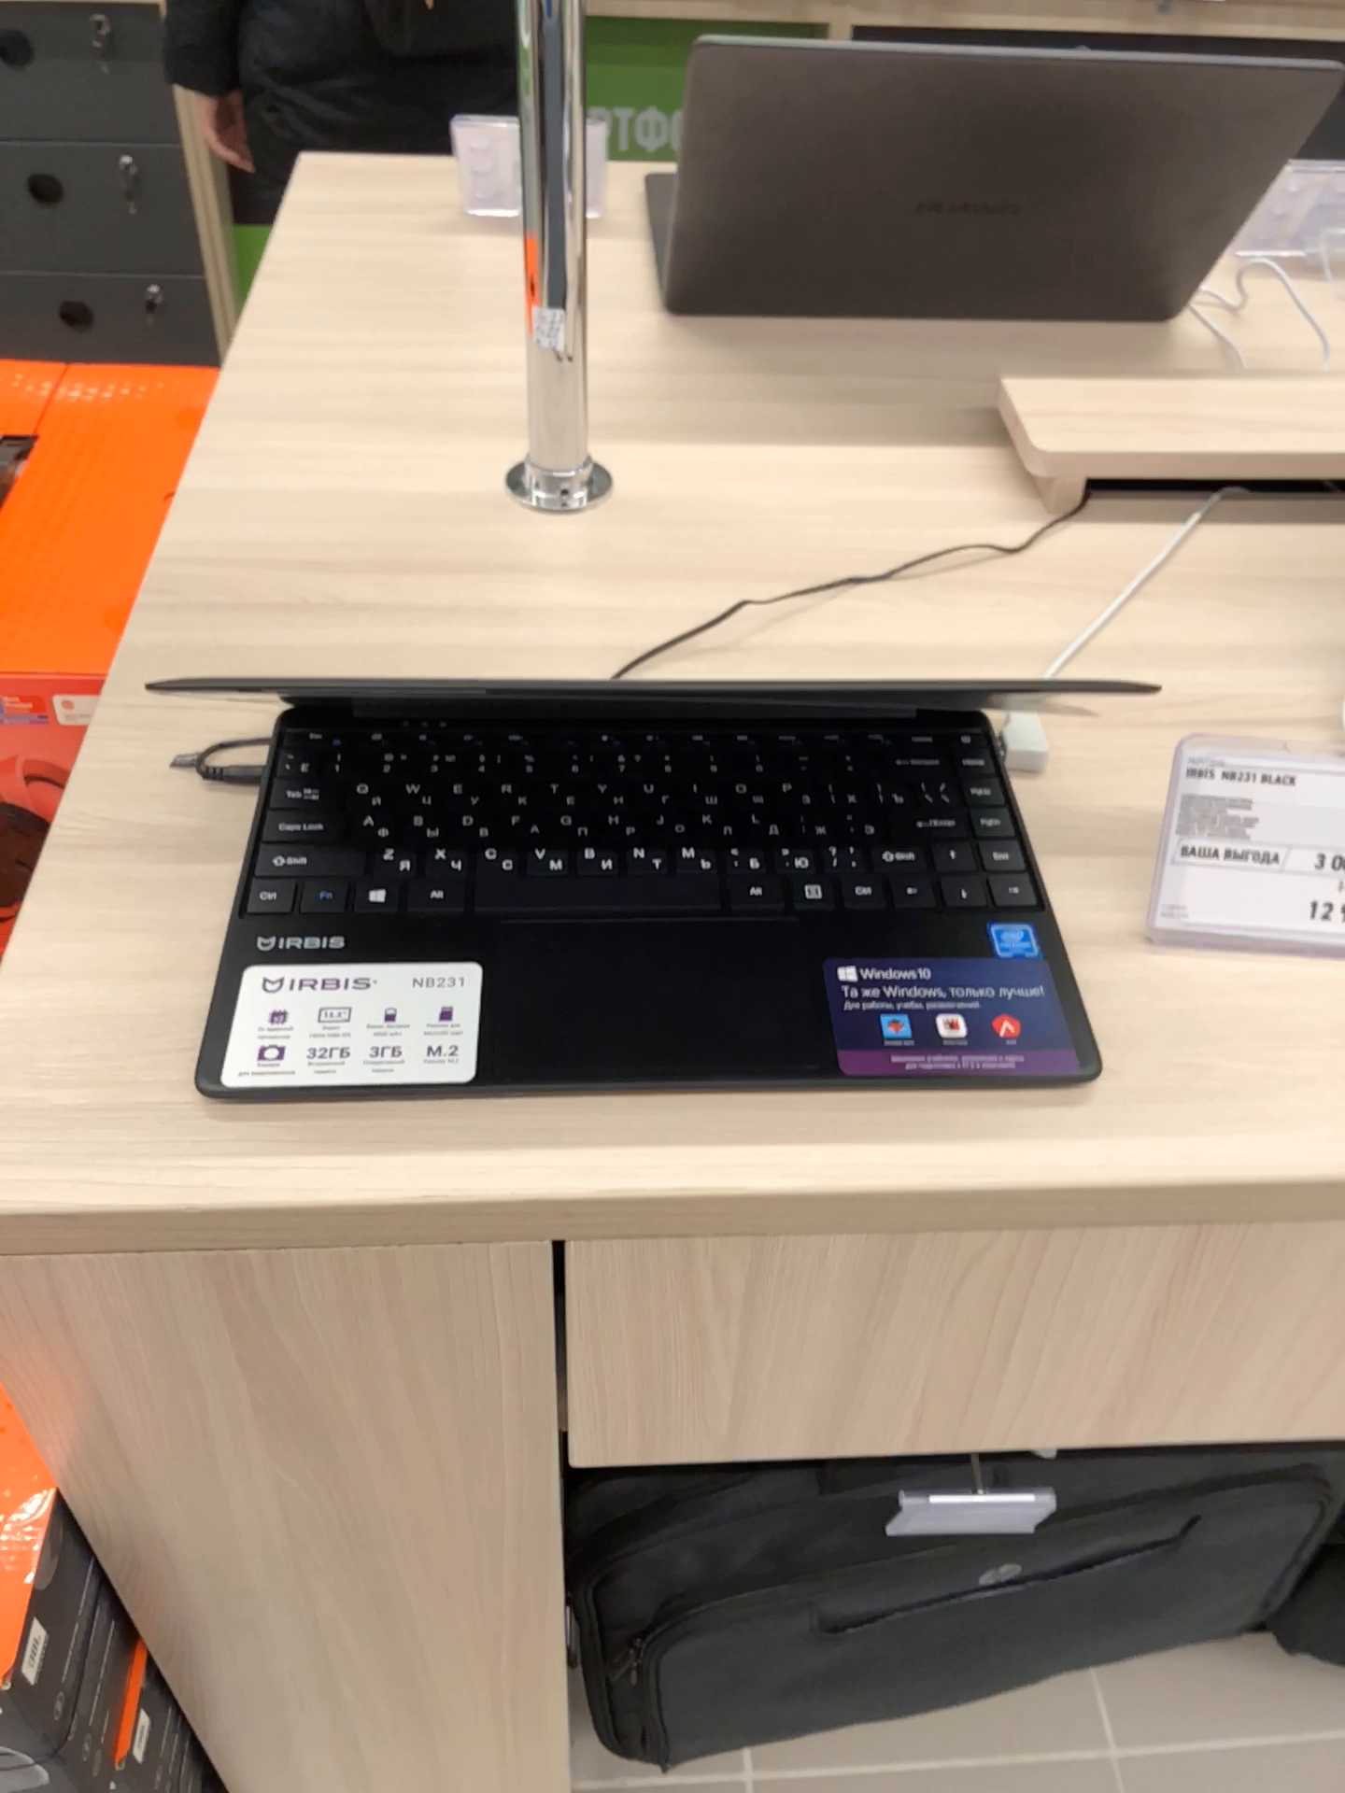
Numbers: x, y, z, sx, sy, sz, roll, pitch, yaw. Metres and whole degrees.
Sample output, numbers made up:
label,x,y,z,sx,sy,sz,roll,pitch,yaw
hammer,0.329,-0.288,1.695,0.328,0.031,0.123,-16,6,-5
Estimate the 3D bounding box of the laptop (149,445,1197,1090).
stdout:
label,x,y,z,sx,sy,sz,roll,pitch,yaw
laptop,-0.004,-0.053,0.542,0.299,0.132,0.204,0,44,-3
